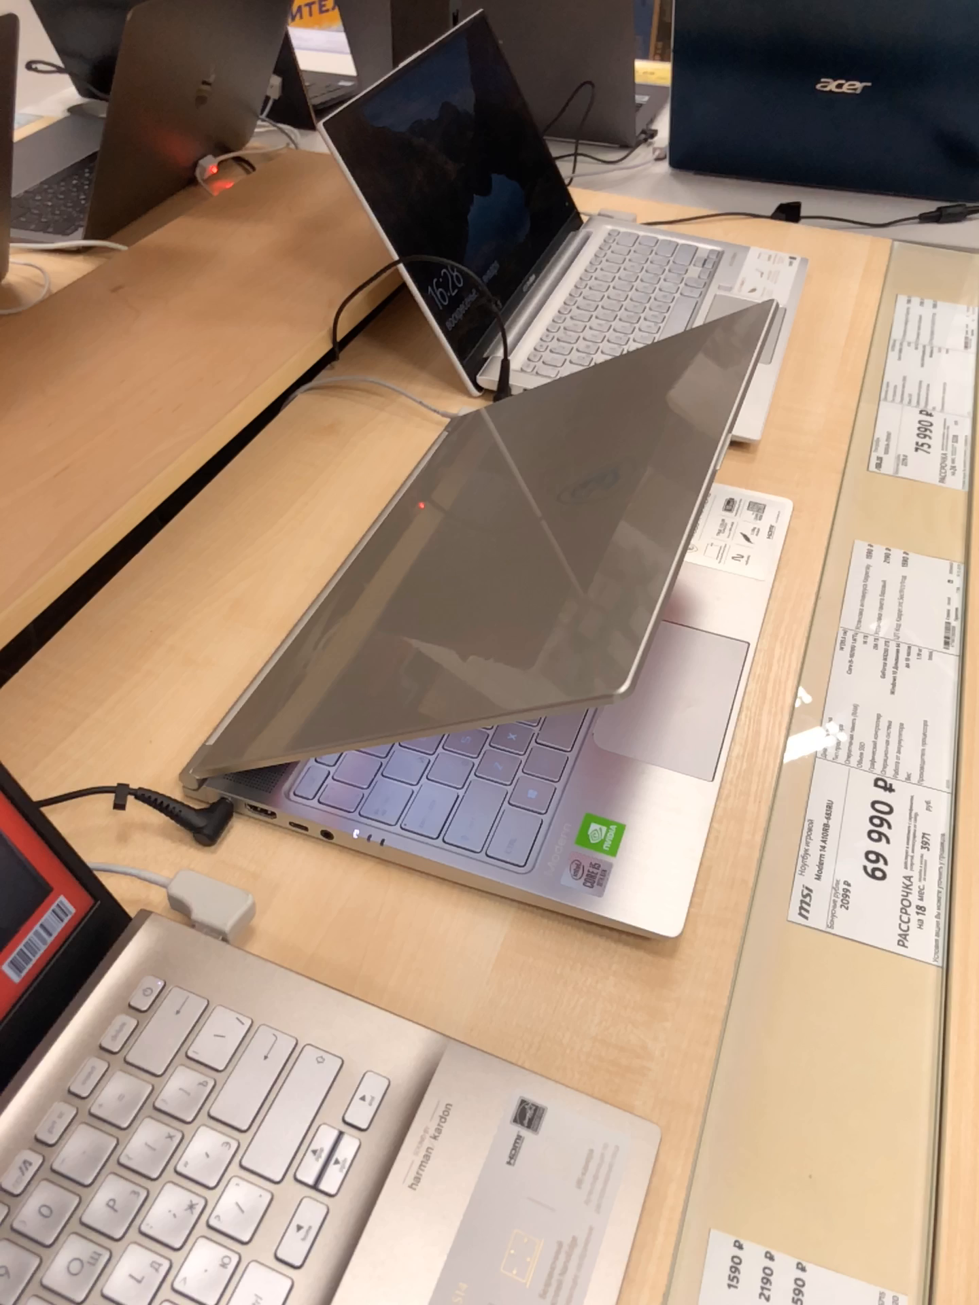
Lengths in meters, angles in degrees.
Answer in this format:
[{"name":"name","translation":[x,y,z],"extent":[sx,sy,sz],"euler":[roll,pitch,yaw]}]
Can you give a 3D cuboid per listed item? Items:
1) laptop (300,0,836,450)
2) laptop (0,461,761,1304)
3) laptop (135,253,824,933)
[{"name":"laptop","translation":[0.076,-0.338,0.801],"extent":[0.300,0.154,0.327],"euler":[15,44,10]},{"name":"laptop","translation":[-0.139,0.144,0.226],"extent":[0.314,0.169,0.311],"euler":[15,43,13]},{"name":"laptop","translation":[0.024,-0.060,0.525],"extent":[0.216,0.113,0.322],"euler":[15,44,13]}]
